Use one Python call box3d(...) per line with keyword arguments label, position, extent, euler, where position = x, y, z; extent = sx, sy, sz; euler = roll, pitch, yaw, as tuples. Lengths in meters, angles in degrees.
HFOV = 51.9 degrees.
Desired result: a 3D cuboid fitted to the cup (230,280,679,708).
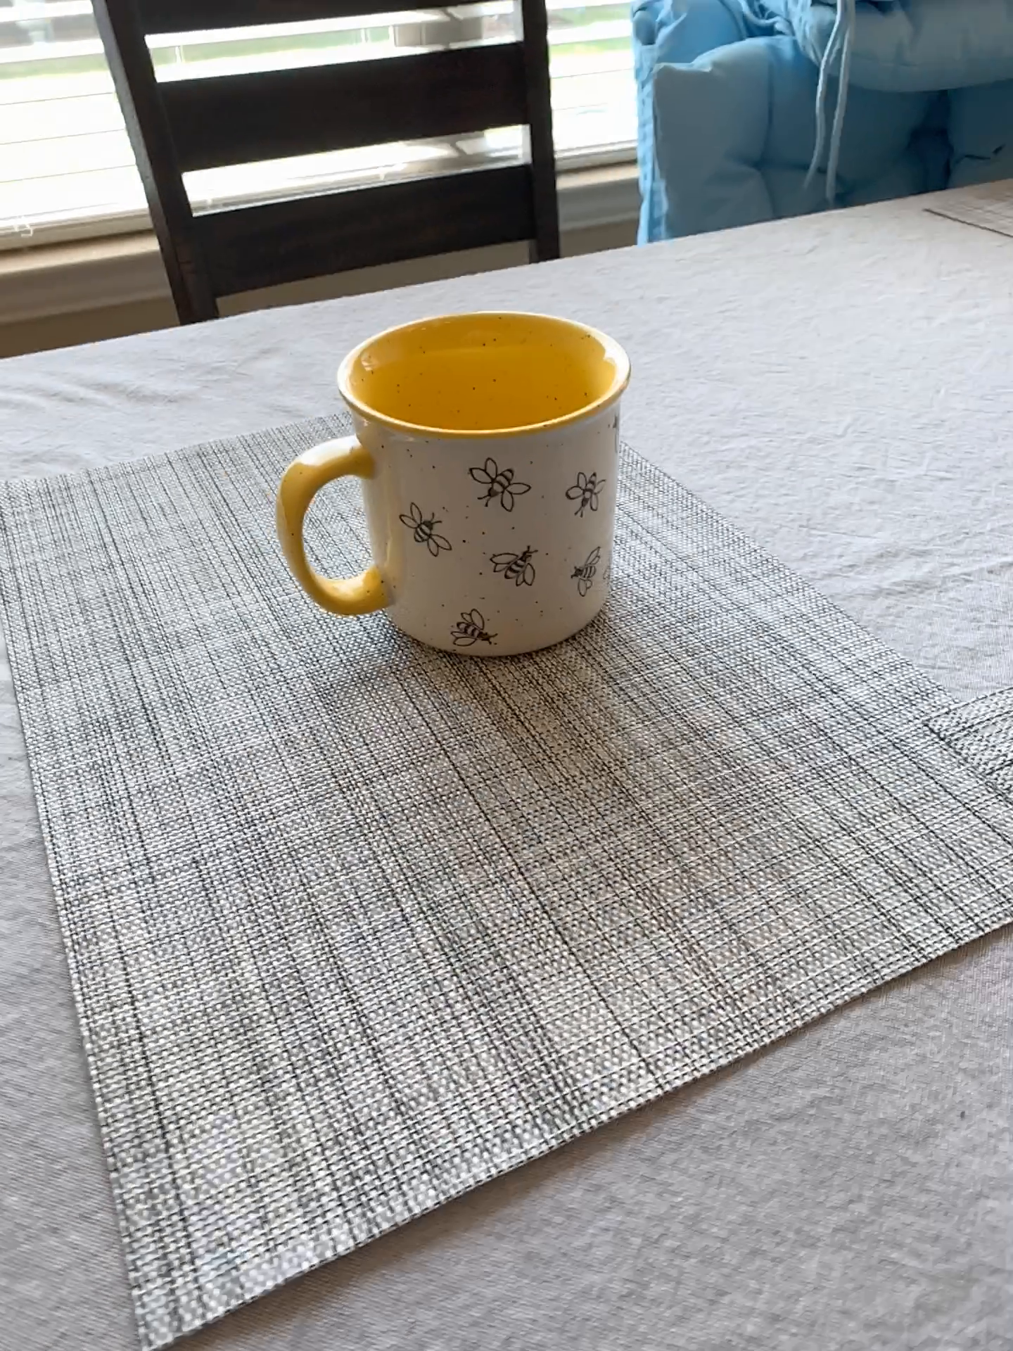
box3d(label="cup", position=(-0.023, -0.079, 0.421), extent=(0.136, 0.107, 0.114), euler=(-16, 41, -17))
